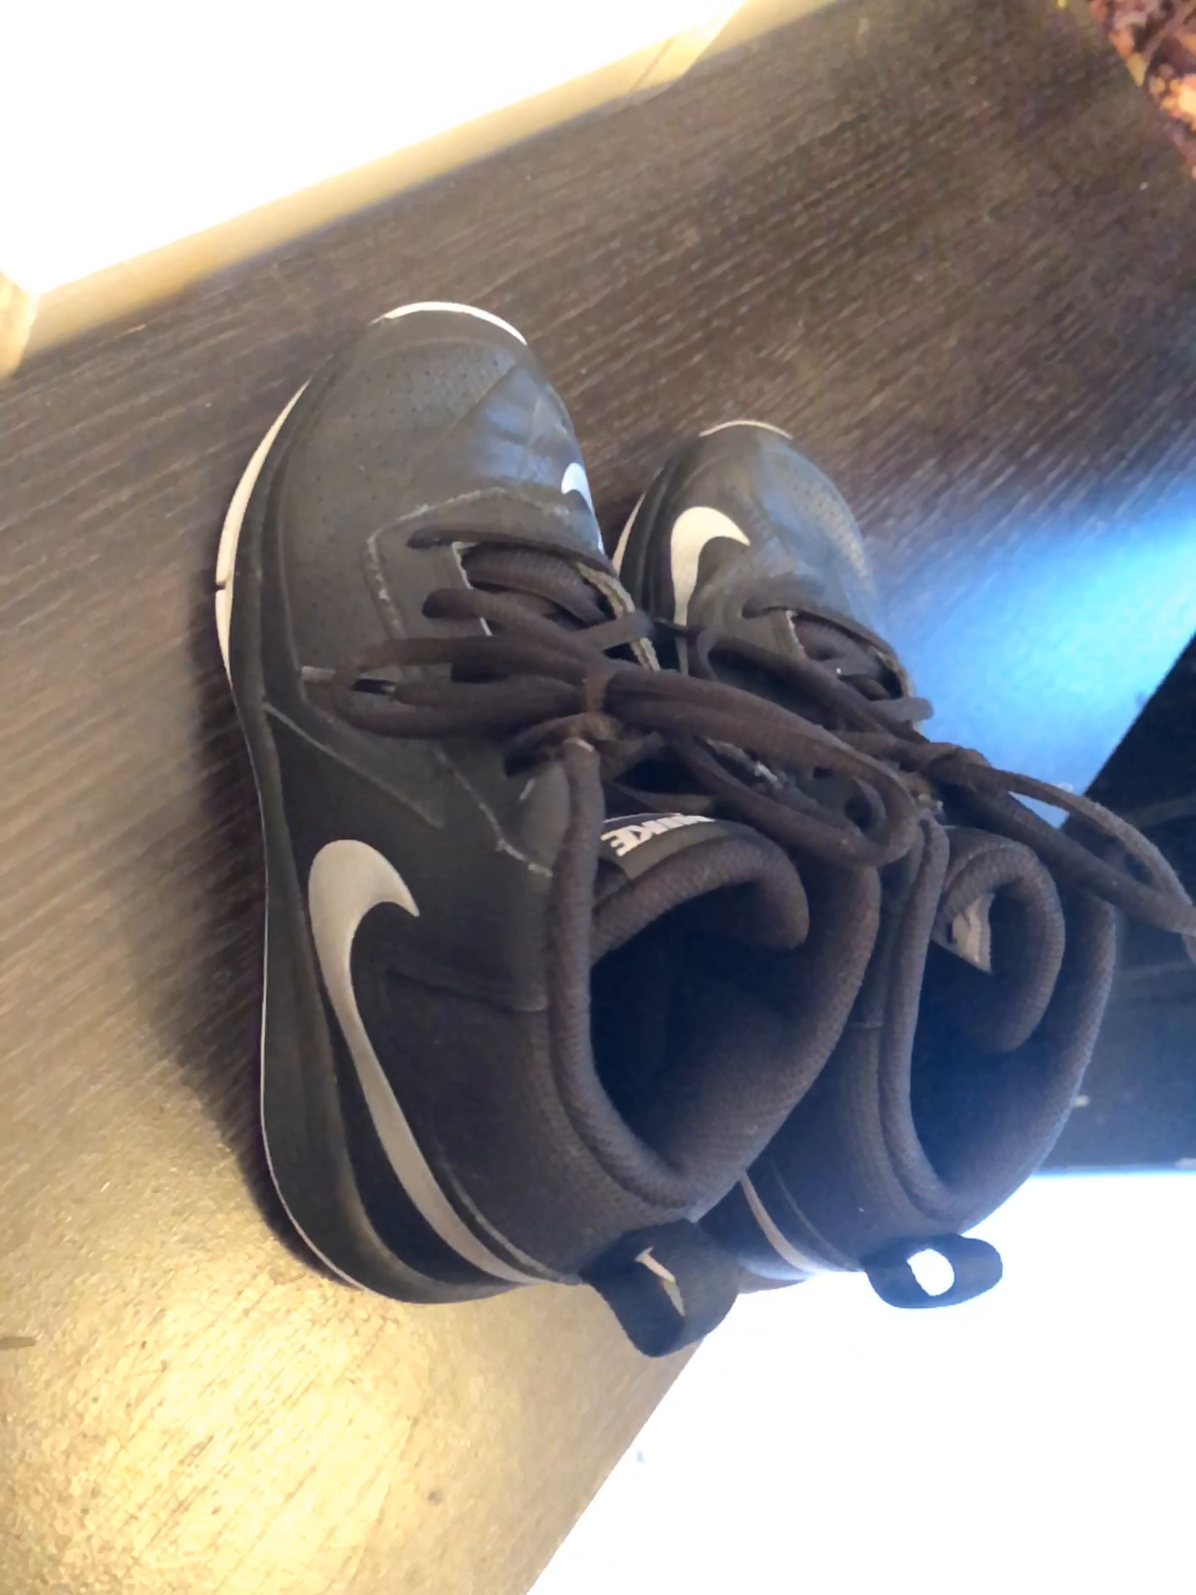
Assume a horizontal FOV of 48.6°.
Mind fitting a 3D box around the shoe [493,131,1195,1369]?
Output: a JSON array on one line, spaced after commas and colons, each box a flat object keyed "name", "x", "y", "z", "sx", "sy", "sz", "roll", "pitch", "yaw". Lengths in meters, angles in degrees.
[{"name": "shoe", "x": 0.056, "y": -0.002, "z": 0.327, "sx": 0.100, "sy": 0.130, "sz": 0.251, "roll": 13, "pitch": 68, "yaw": -30}]

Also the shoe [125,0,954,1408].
[{"name": "shoe", "x": -0.026, "y": -0.028, "z": 0.277, "sx": 0.100, "sy": 0.130, "sz": 0.260, "roll": 7, "pitch": 71, "yaw": -31}]
